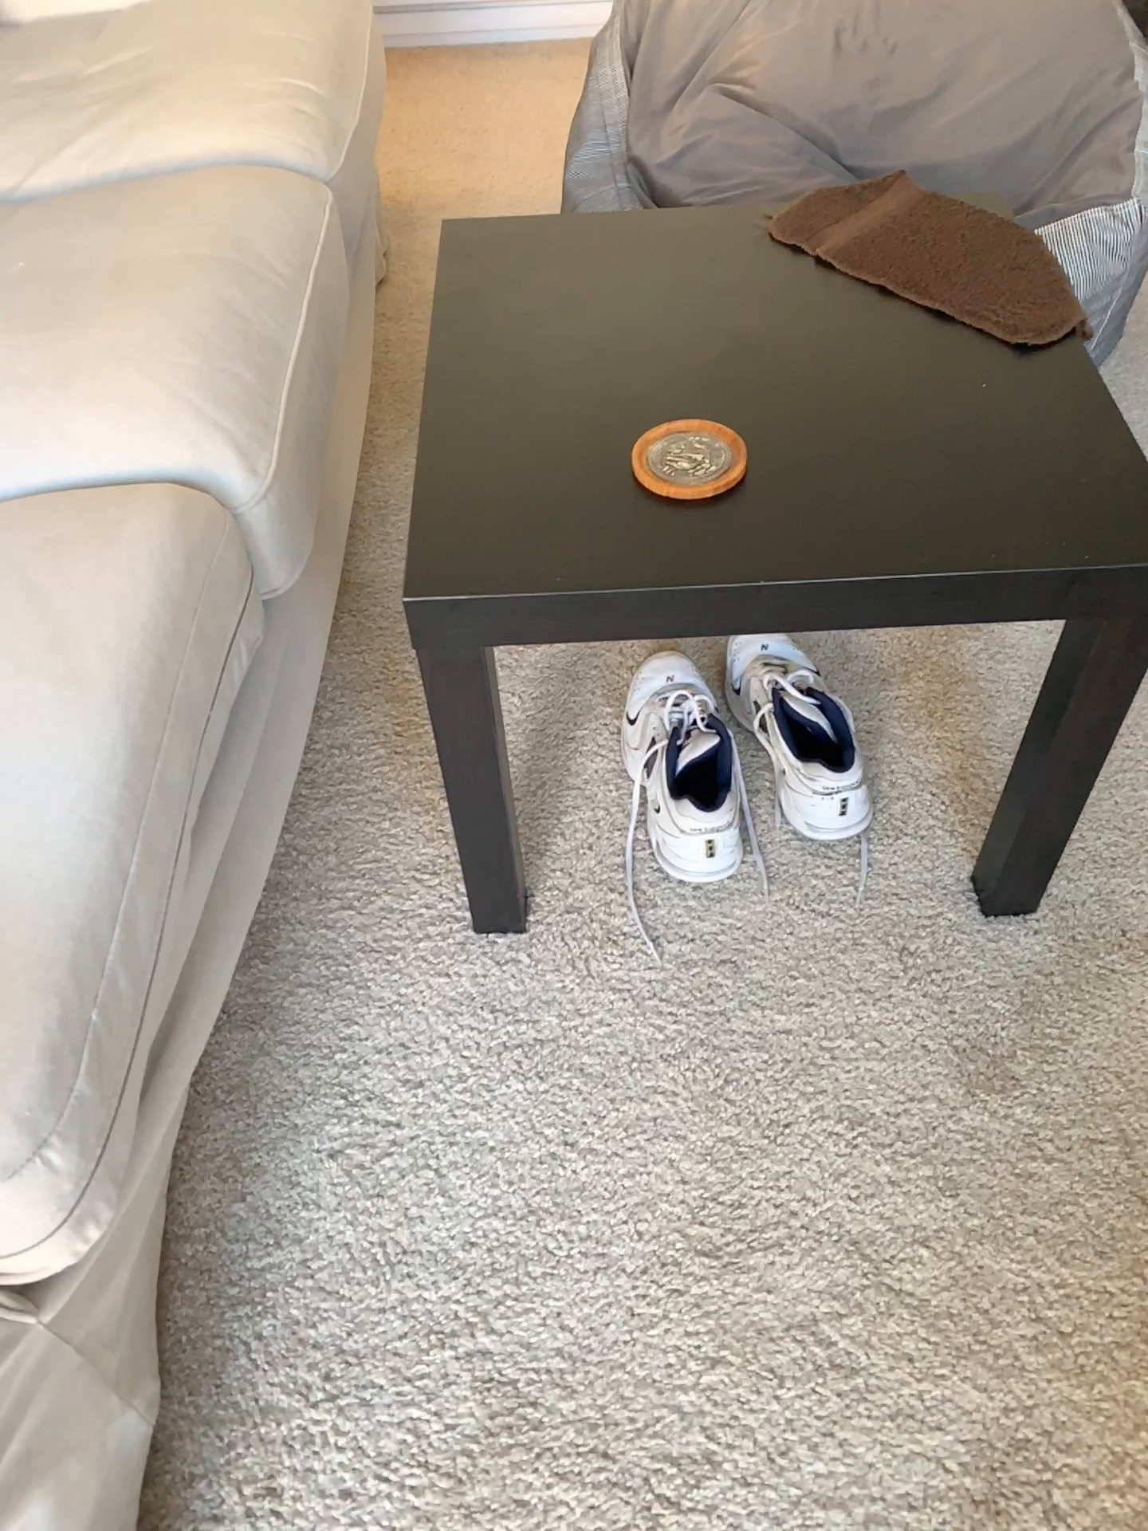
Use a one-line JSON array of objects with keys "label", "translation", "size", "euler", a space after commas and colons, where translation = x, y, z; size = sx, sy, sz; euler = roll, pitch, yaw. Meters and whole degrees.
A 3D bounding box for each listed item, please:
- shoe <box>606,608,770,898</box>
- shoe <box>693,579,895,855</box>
[{"label": "shoe", "translation": [0.109, -0.020, 1.203], "size": [0.110, 0.100, 0.291], "euler": [-7, 50, -3]}, {"label": "shoe", "translation": [0.227, -0.059, 1.263], "size": [0.110, 0.100, 0.291], "euler": [-12, 51, -7]}]
